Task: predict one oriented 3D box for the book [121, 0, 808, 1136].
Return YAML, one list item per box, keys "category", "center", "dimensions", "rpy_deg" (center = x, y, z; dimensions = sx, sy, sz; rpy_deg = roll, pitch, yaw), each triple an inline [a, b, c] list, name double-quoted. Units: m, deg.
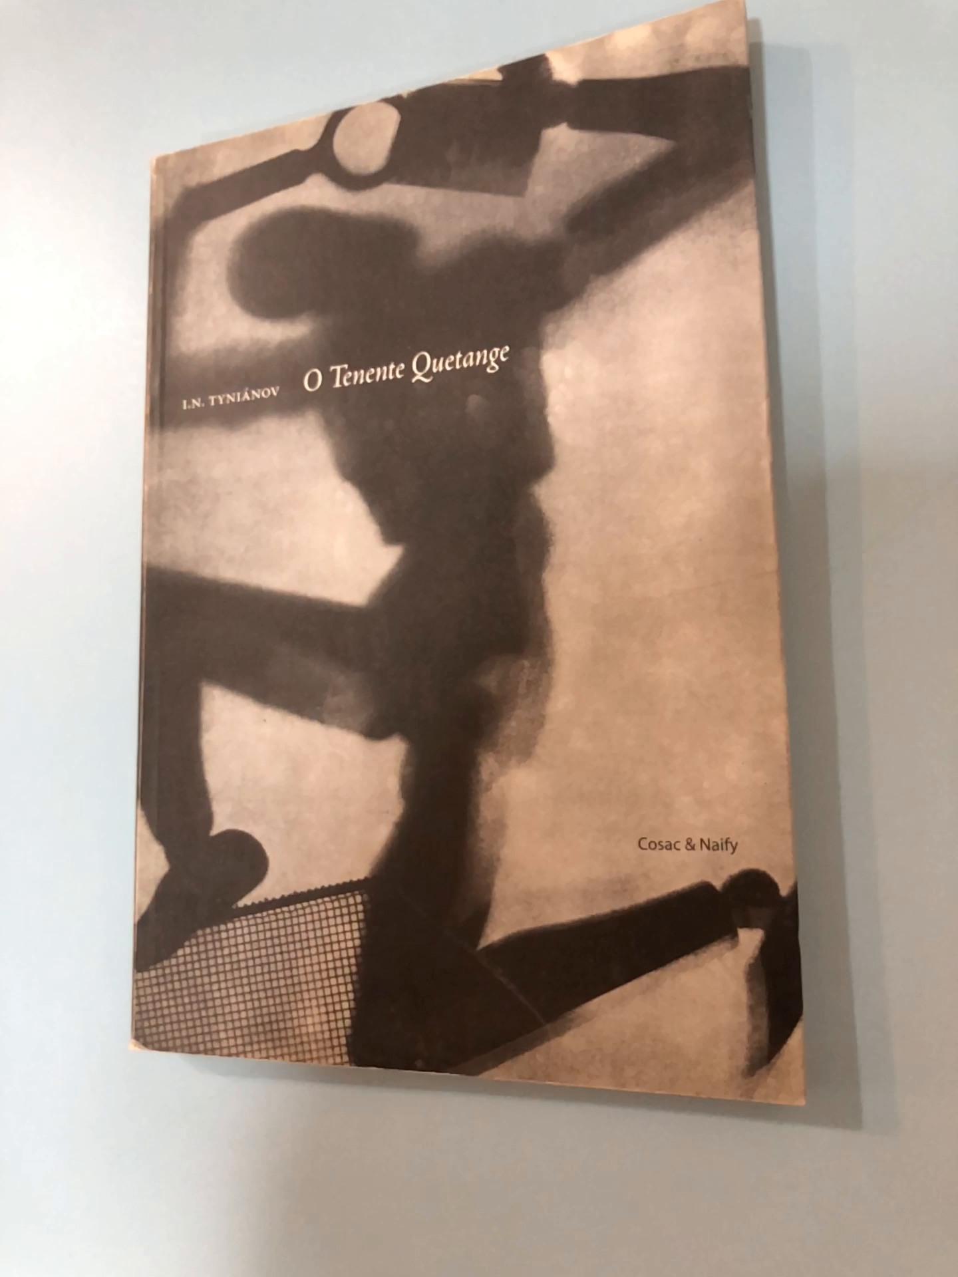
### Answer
- category: "book"
  center: [-0.010, -0.013, 0.214]
  dimensions: [0.134, 0.016, 0.196]
  rpy_deg: [-3, 84, 21]
